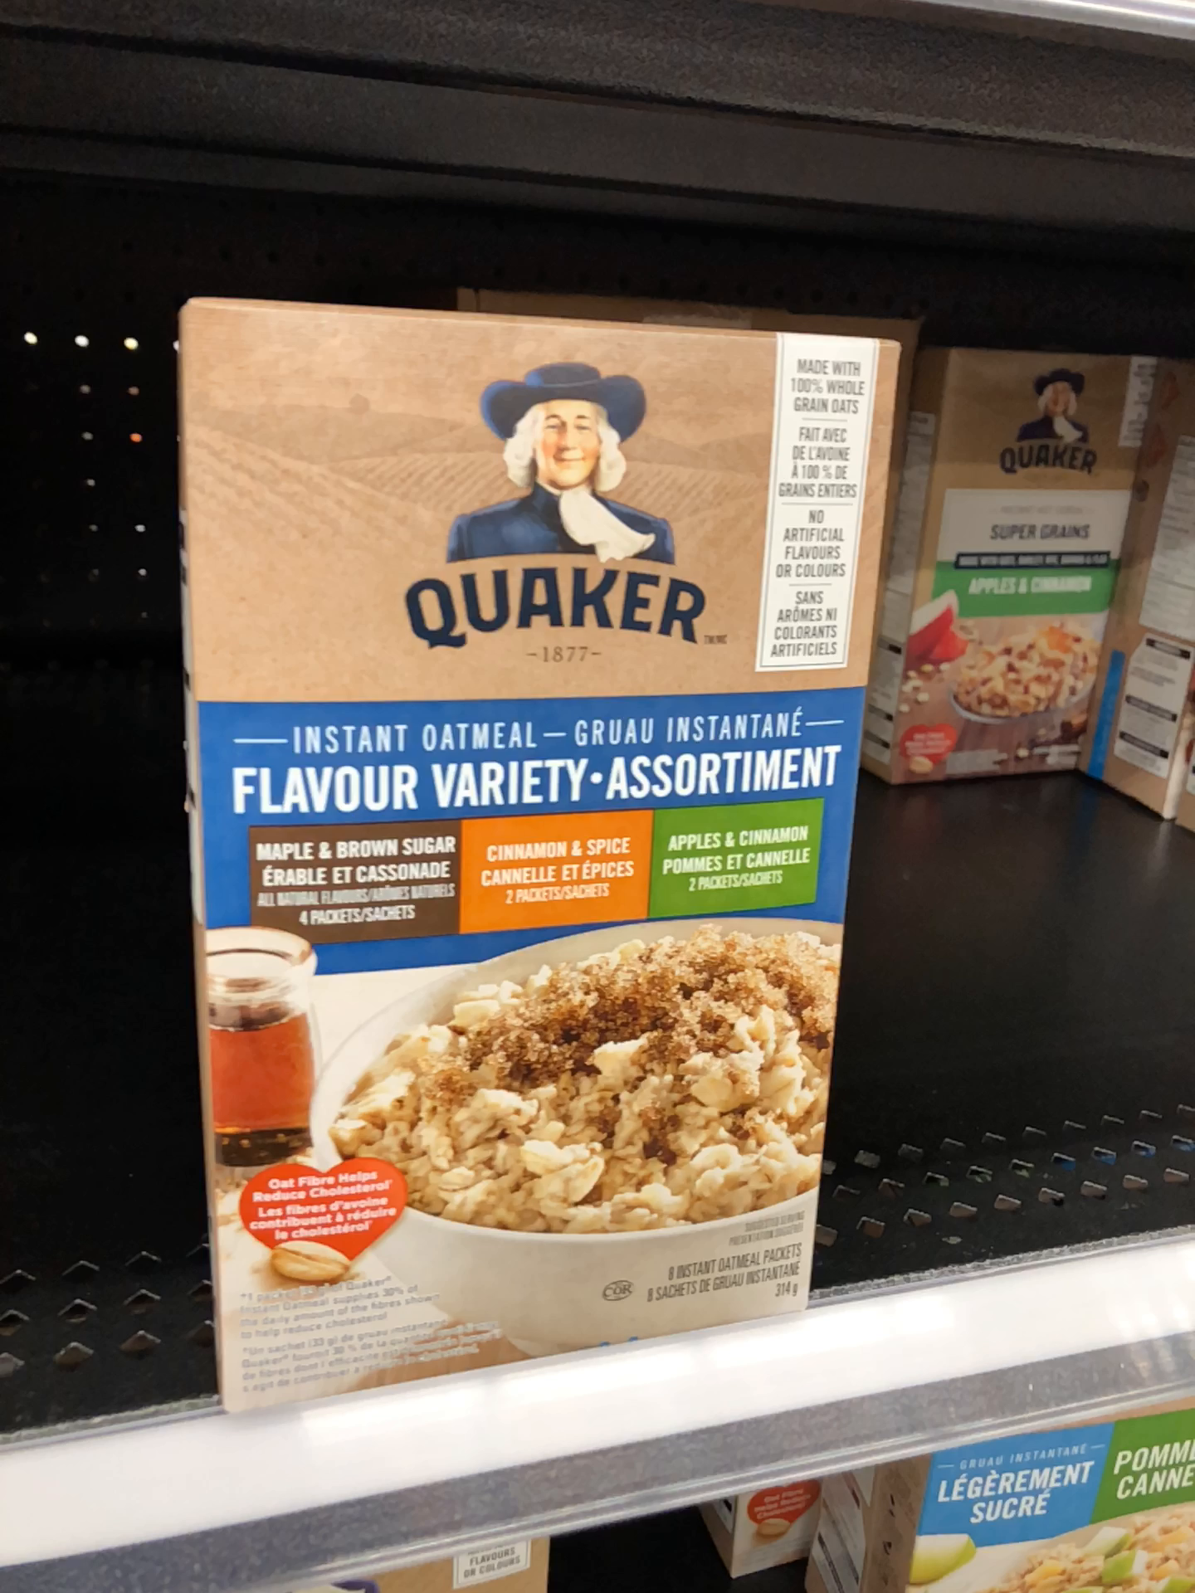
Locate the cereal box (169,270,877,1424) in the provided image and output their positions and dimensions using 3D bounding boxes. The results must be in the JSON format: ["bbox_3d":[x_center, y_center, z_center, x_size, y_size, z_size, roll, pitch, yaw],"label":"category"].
[{"bbox_3d":[-0.020,0.009,0.274,0.120,0.209,0.060,-3,17,-18],"label":"cereal box"}]
